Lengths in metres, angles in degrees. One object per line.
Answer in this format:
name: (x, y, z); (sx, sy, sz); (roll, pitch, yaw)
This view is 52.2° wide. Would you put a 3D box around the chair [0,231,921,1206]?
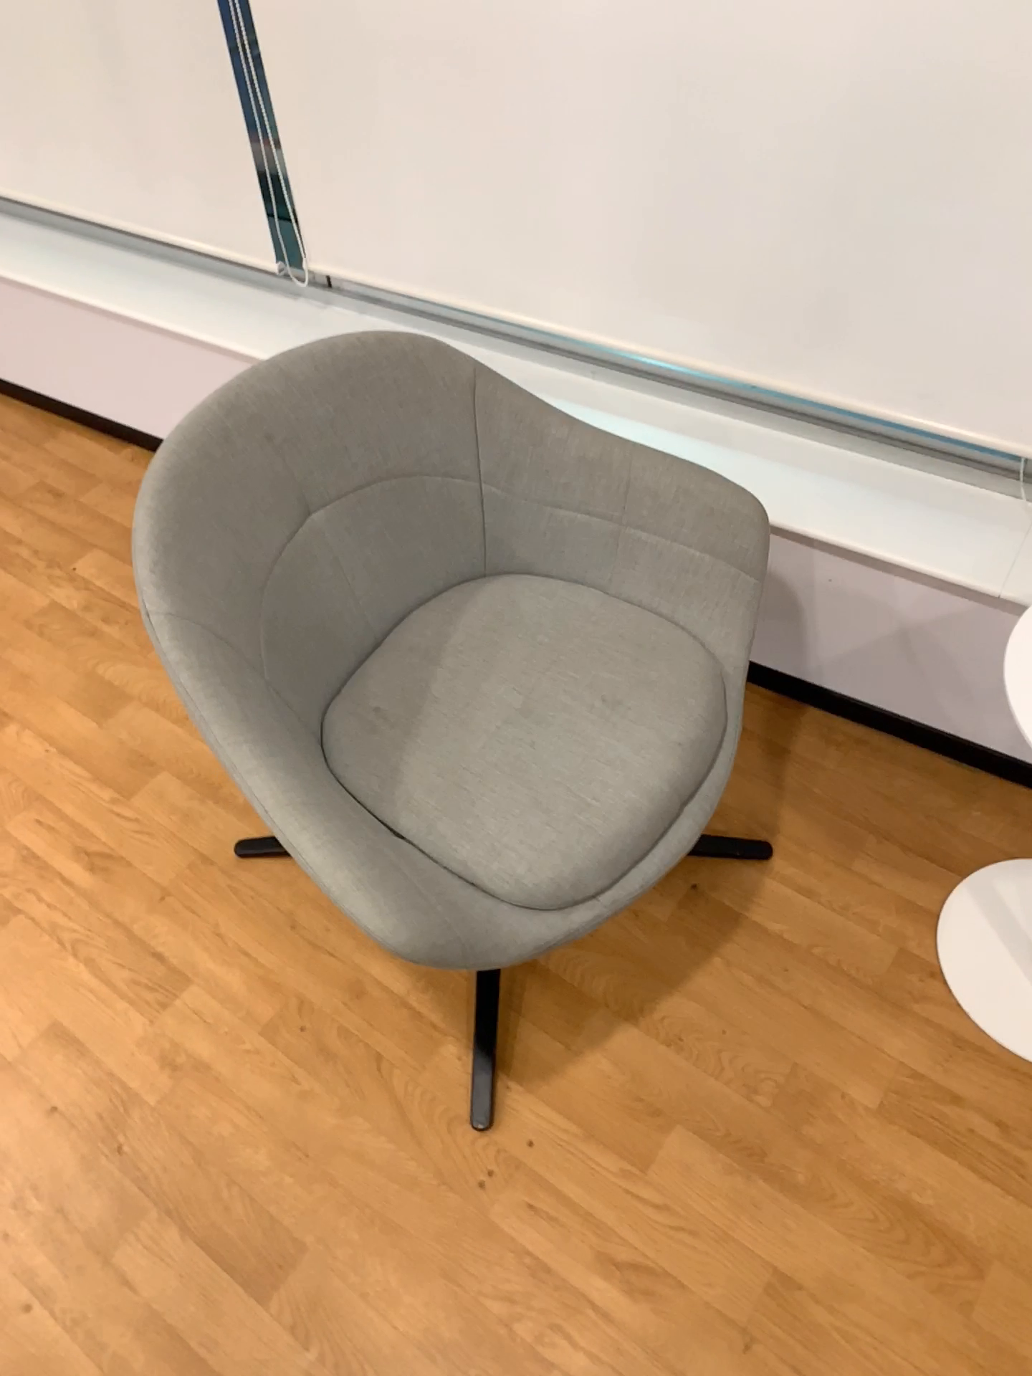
chair: (-0.048, 0.019, 1.305); (0.682, 0.754, 0.673); (28, 56, 27)
